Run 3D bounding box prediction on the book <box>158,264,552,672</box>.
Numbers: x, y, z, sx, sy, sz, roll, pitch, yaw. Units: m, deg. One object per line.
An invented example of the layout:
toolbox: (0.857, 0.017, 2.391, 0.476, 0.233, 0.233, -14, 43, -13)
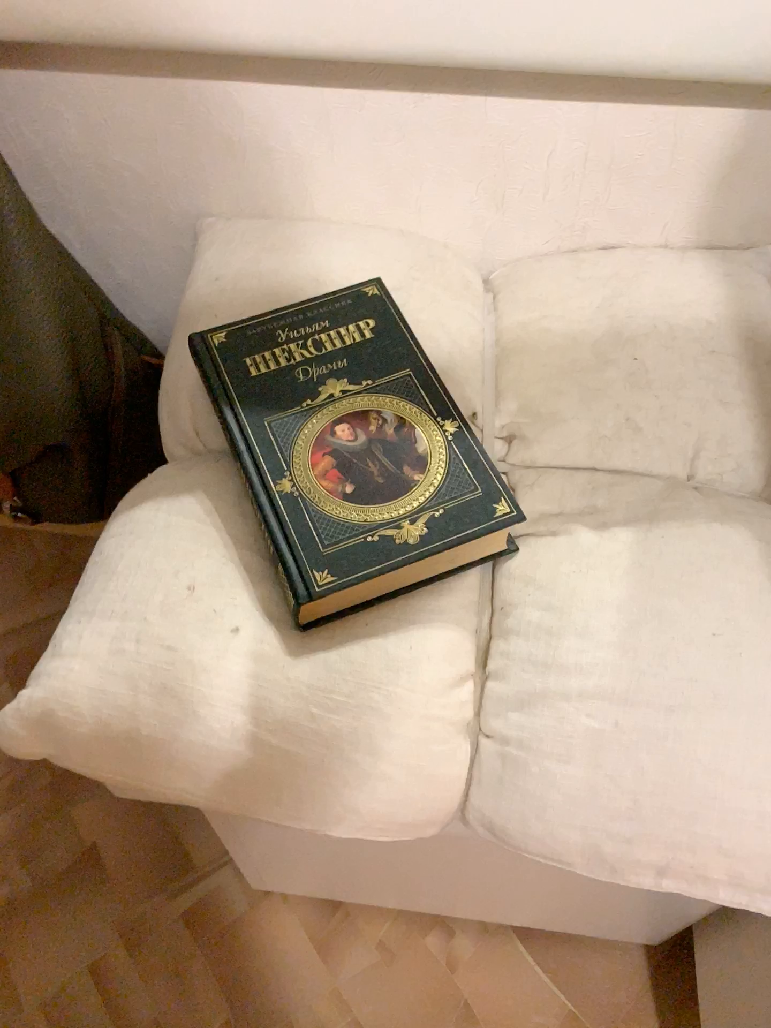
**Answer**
book: (-0.027, -0.041, 0.457, 0.150, 0.040, 0.221, -19, 59, -12)
